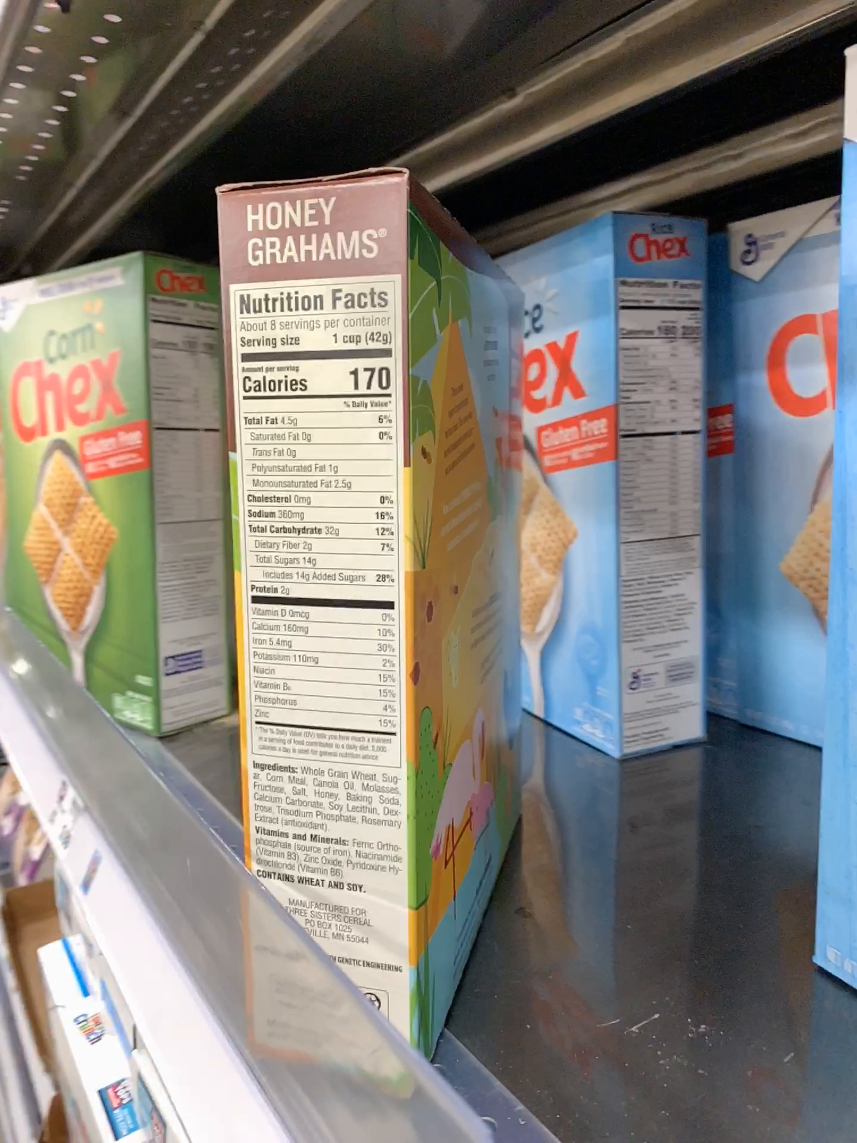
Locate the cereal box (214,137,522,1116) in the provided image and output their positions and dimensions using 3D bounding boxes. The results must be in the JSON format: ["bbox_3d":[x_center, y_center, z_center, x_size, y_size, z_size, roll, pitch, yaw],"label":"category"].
[{"bbox_3d":[-0.006,0.009,0.334,0.050,0.260,0.200,2,8,14],"label":"cereal box"}]
